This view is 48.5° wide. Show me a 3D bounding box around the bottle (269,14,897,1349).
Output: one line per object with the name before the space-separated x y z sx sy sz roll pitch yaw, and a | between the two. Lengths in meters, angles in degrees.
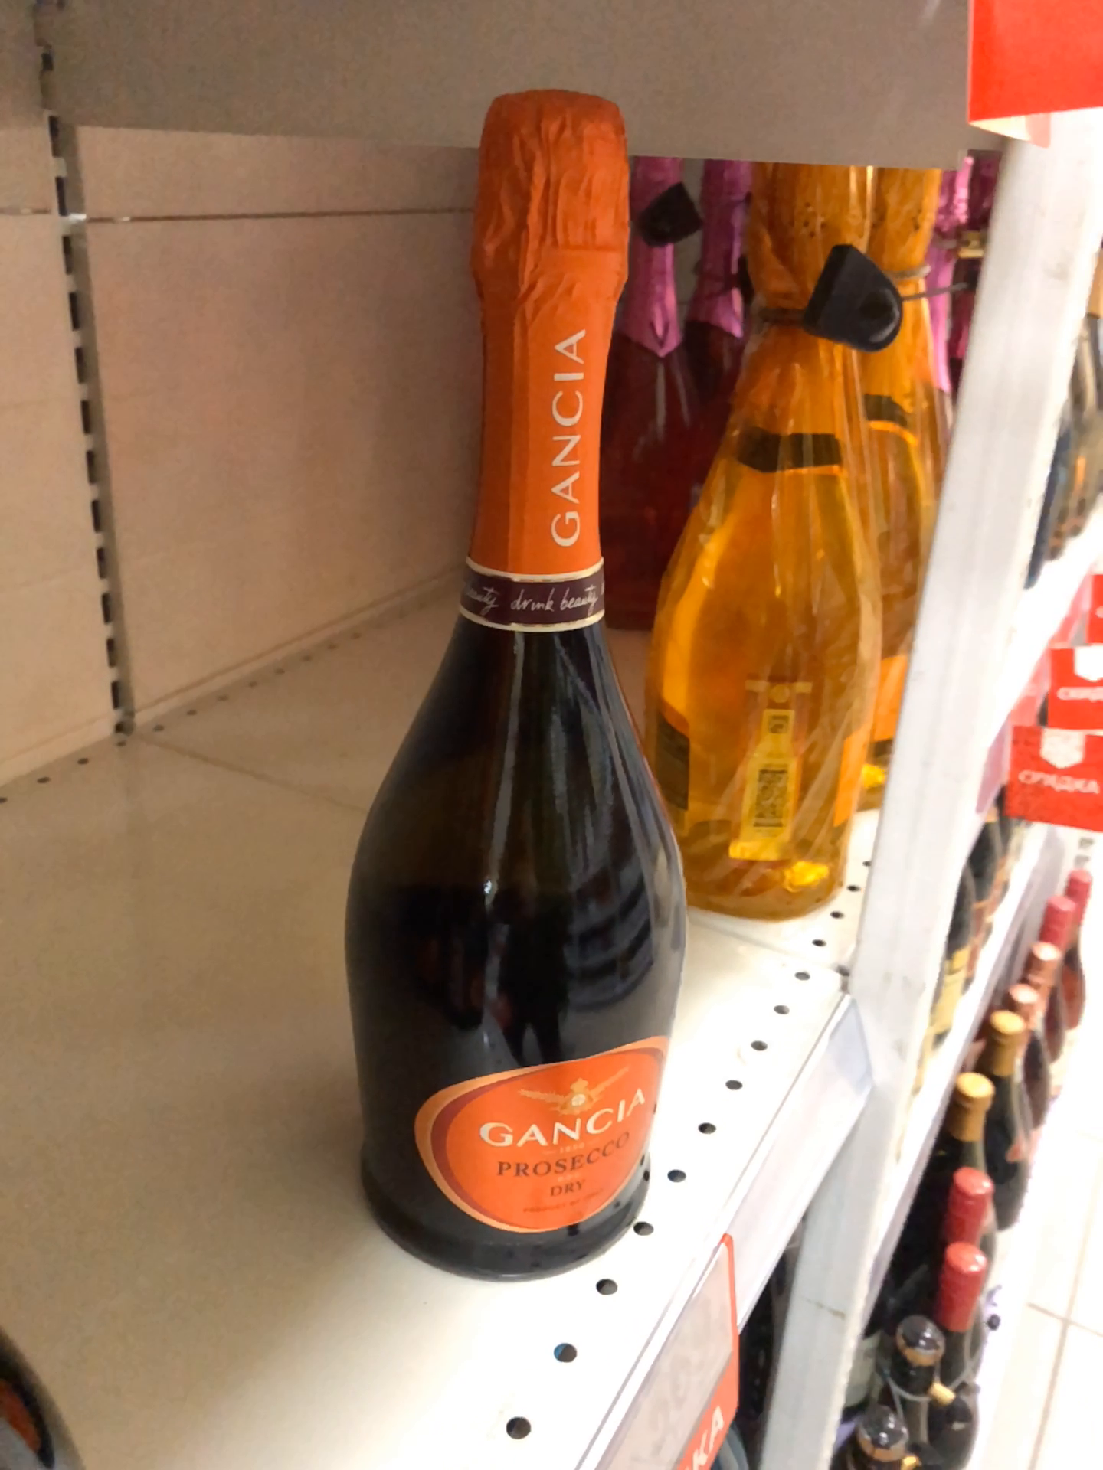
bottle | -0.007 -0.003 0.322 0.100 0.308 0.100 3 25 -1
